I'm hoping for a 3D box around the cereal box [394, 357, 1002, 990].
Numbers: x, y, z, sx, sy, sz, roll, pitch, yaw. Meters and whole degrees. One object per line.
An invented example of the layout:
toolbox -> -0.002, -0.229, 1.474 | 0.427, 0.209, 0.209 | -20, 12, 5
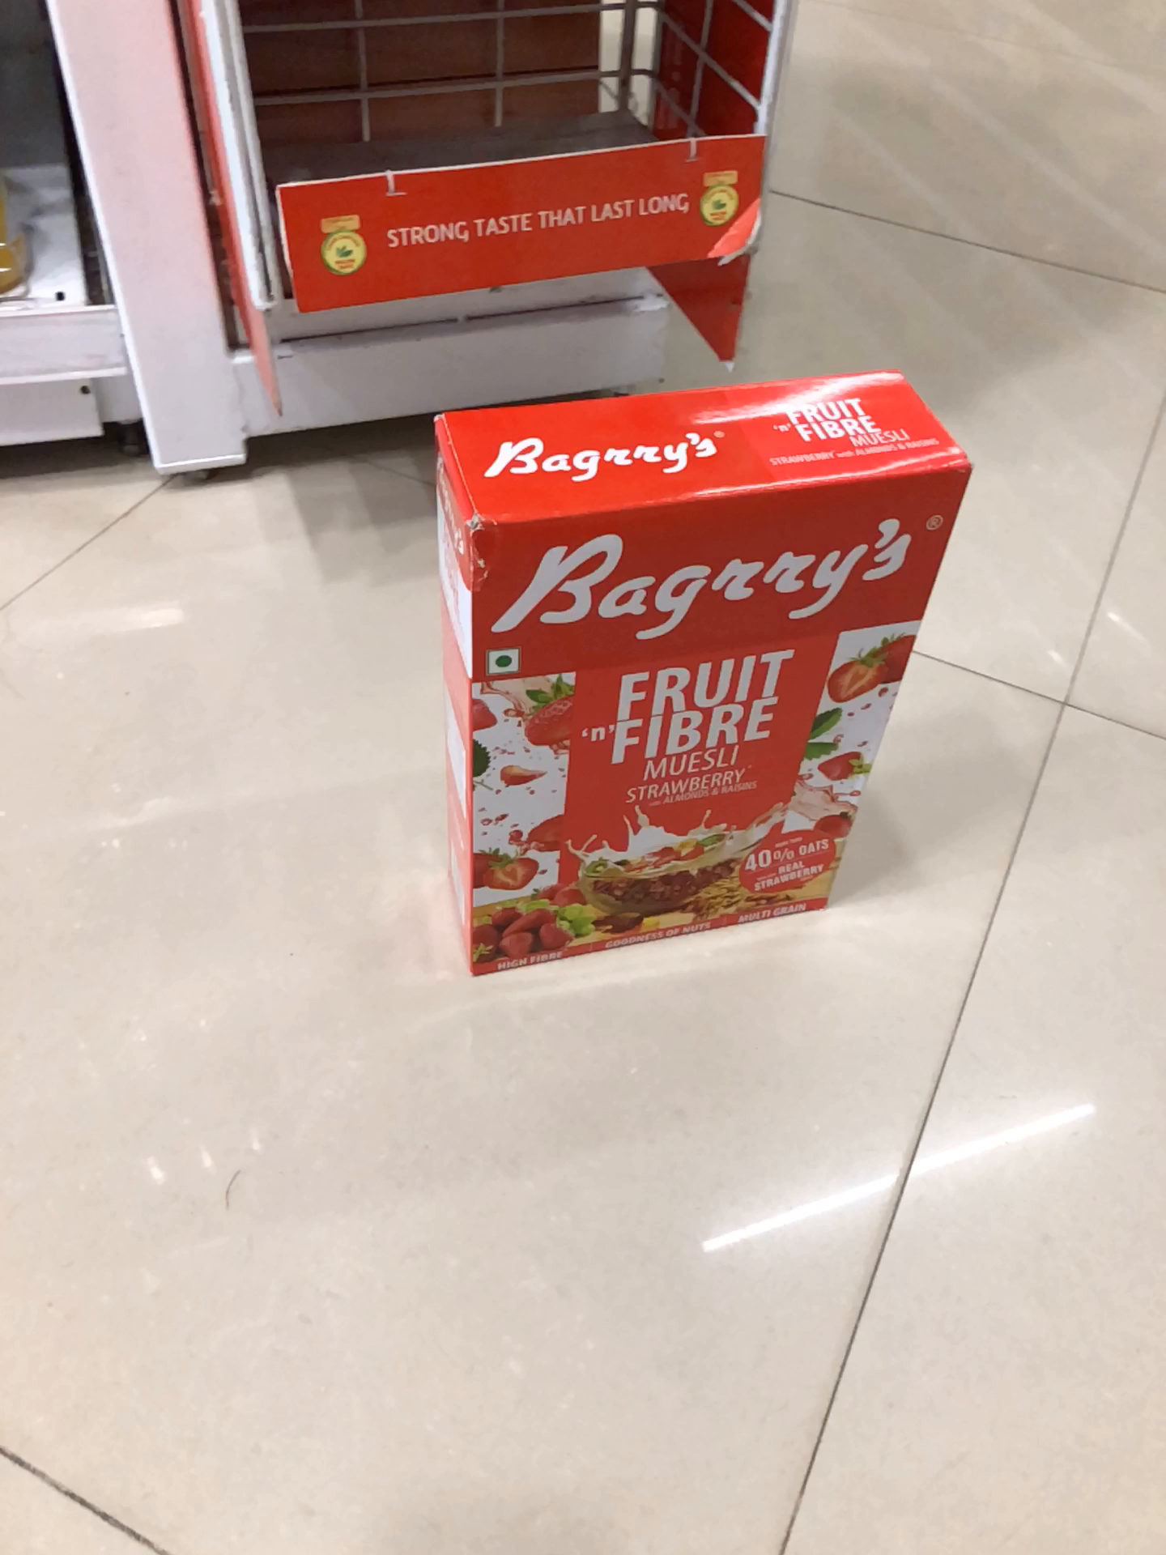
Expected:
cereal box -> 0.033, -0.032, 0.541 | 0.200, 0.258, 0.070 | -10, 49, -13
